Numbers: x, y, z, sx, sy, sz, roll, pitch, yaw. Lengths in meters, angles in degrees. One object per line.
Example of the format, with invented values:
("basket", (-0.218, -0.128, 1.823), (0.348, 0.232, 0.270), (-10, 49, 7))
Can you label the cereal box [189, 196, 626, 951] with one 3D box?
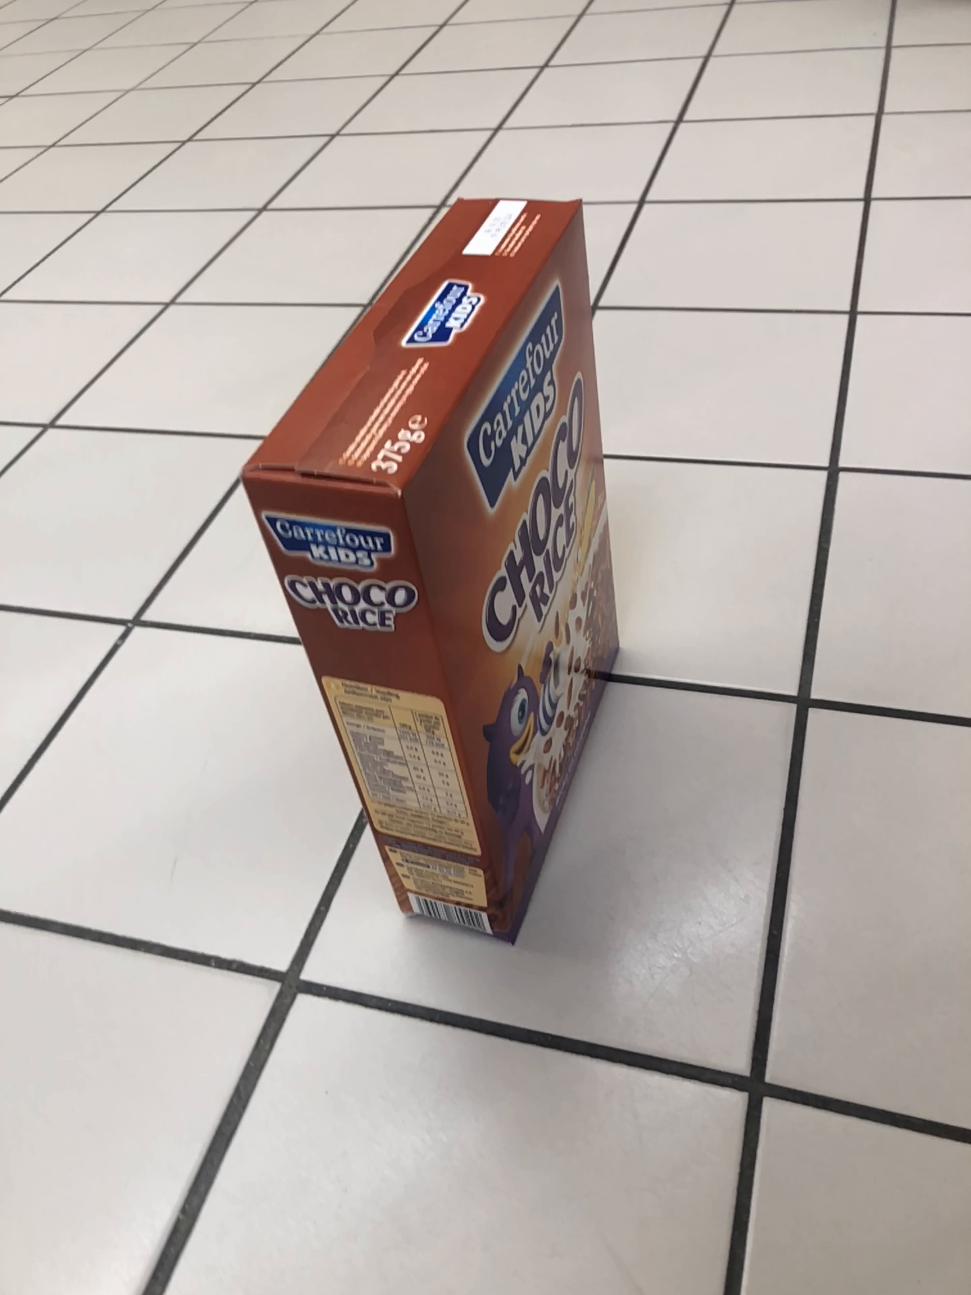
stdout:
("cereal box", (-0.005, -0.029, 0.452), (0.070, 0.239, 0.201), (8, 47, 19))
